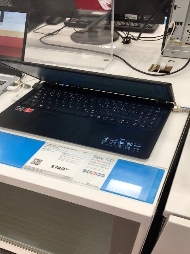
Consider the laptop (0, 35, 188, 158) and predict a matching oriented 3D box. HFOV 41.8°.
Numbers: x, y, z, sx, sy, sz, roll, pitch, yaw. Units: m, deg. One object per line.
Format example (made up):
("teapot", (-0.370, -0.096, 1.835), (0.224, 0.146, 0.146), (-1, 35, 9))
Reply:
("laptop", (-0.029, -0.089, 0.577), (0.385, 0.156, 0.229), (13, 42, 17))
